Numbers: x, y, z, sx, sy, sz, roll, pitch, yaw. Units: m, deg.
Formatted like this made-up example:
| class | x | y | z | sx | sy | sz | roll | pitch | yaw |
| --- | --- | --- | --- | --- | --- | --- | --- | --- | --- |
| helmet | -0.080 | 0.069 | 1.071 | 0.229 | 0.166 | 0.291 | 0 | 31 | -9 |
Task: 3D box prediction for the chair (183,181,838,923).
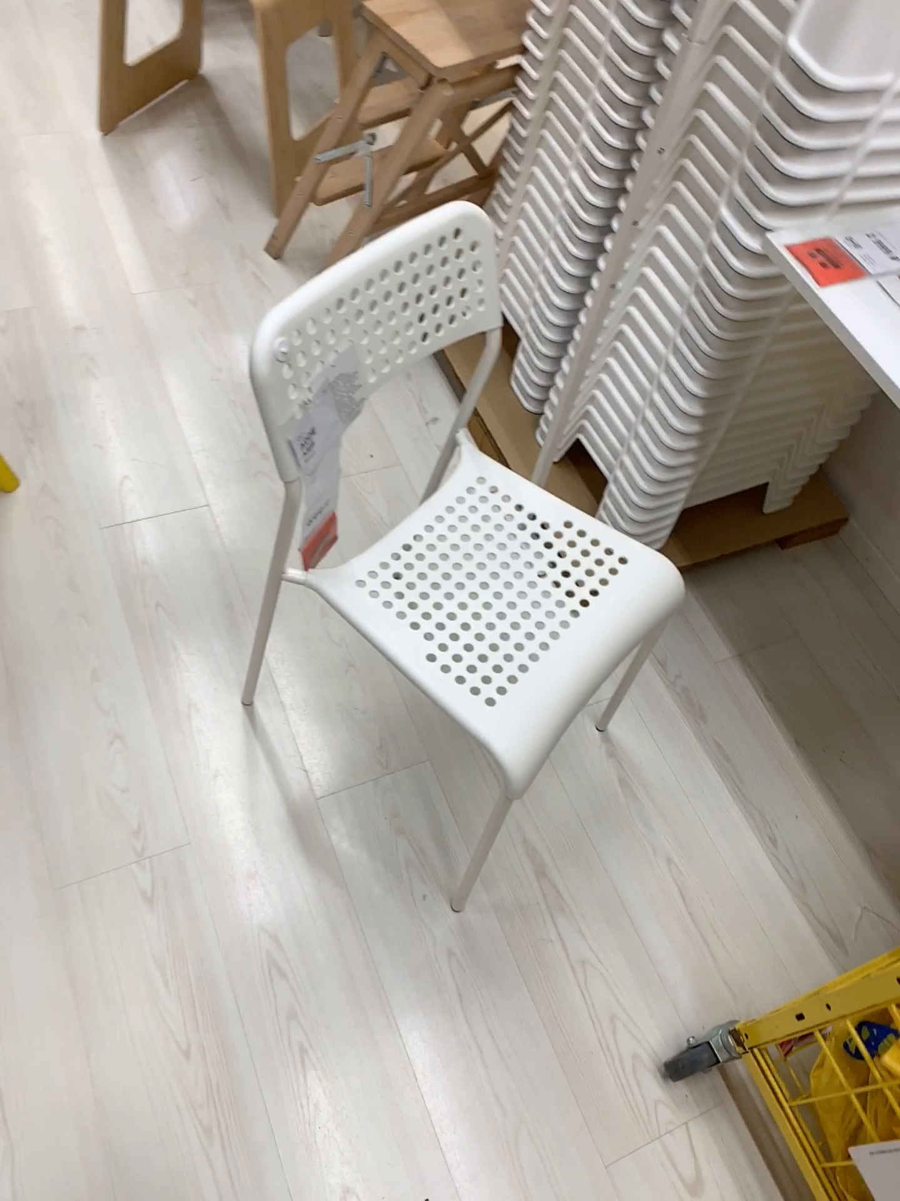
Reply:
| class | x | y | z | sx | sy | sz | roll | pitch | yaw |
| --- | --- | --- | --- | --- | --- | --- | --- | --- | --- |
| chair | 0.016 | -0.011 | 1.202 | 0.500 | 0.747 | 0.425 | 38 | 58 | 15 |
